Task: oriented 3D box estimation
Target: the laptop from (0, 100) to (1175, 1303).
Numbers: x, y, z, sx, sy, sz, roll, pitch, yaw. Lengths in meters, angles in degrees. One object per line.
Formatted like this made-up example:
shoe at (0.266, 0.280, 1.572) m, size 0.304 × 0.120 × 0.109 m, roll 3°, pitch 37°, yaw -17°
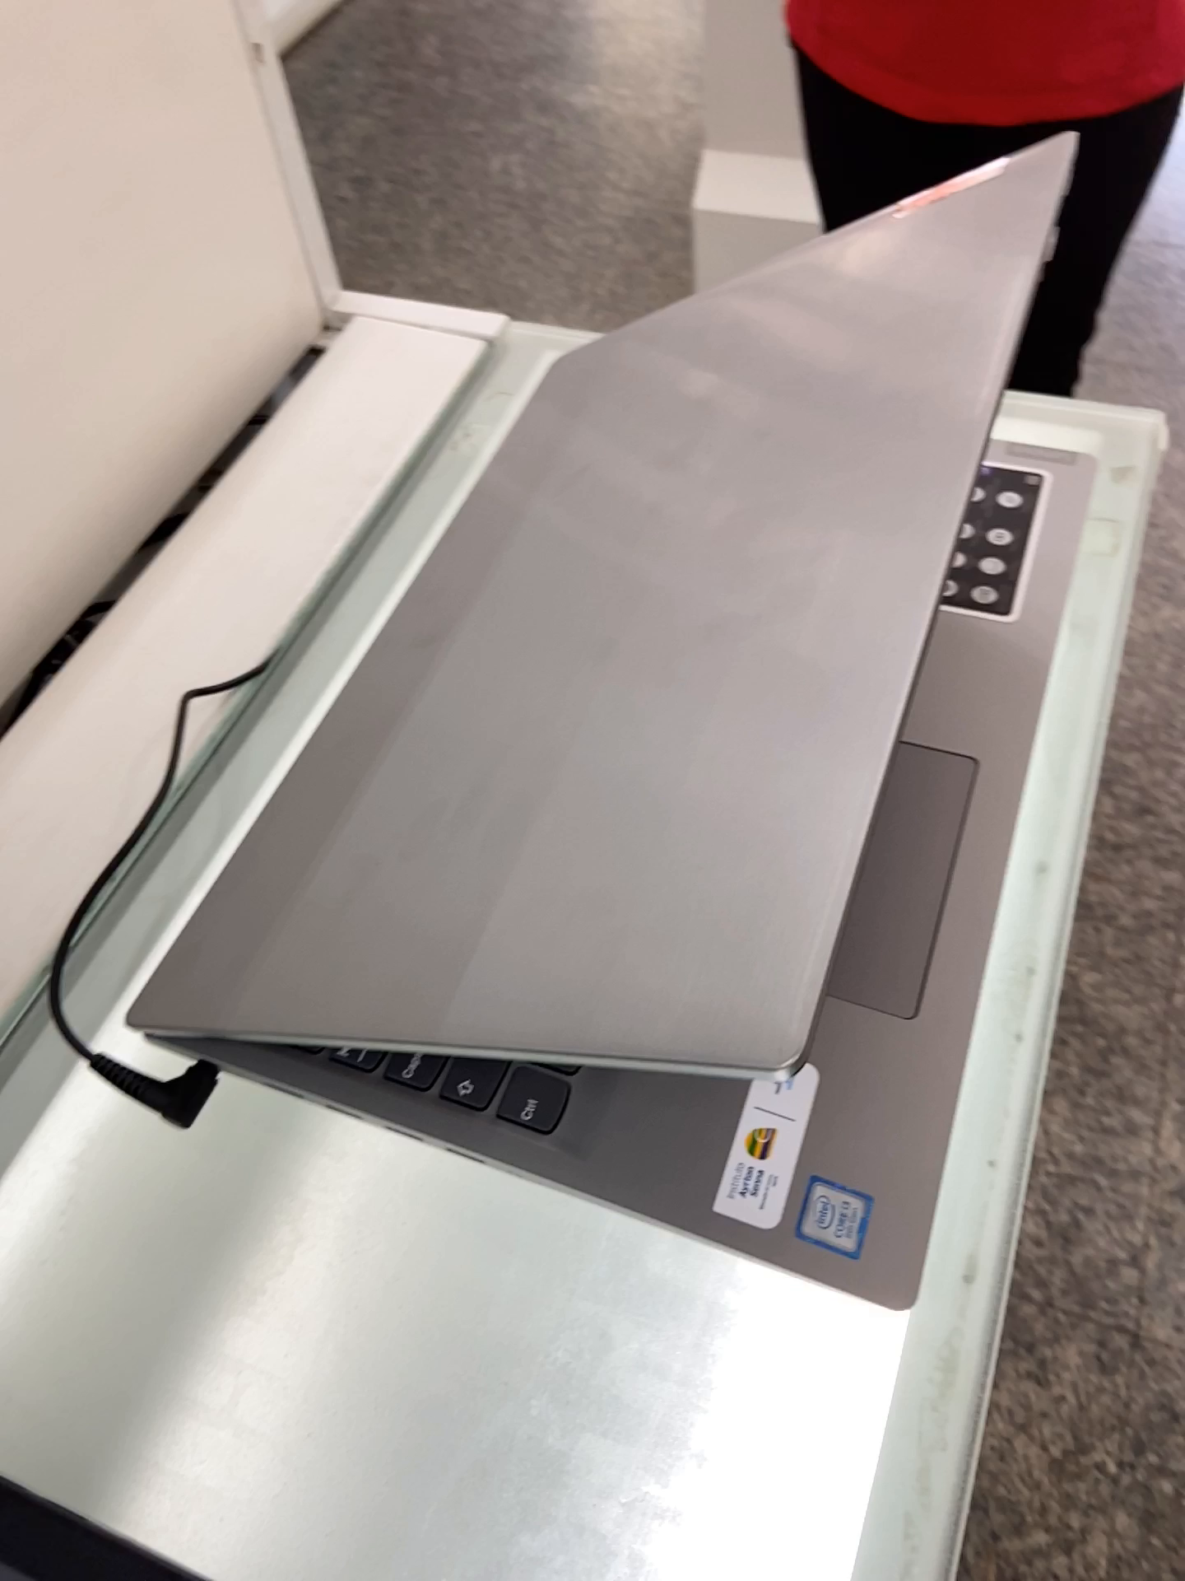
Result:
laptop at (0.027, -0.068, 0.397) m, size 0.239 × 0.122 × 0.355 m, roll 14°, pitch 56°, yaw 16°
